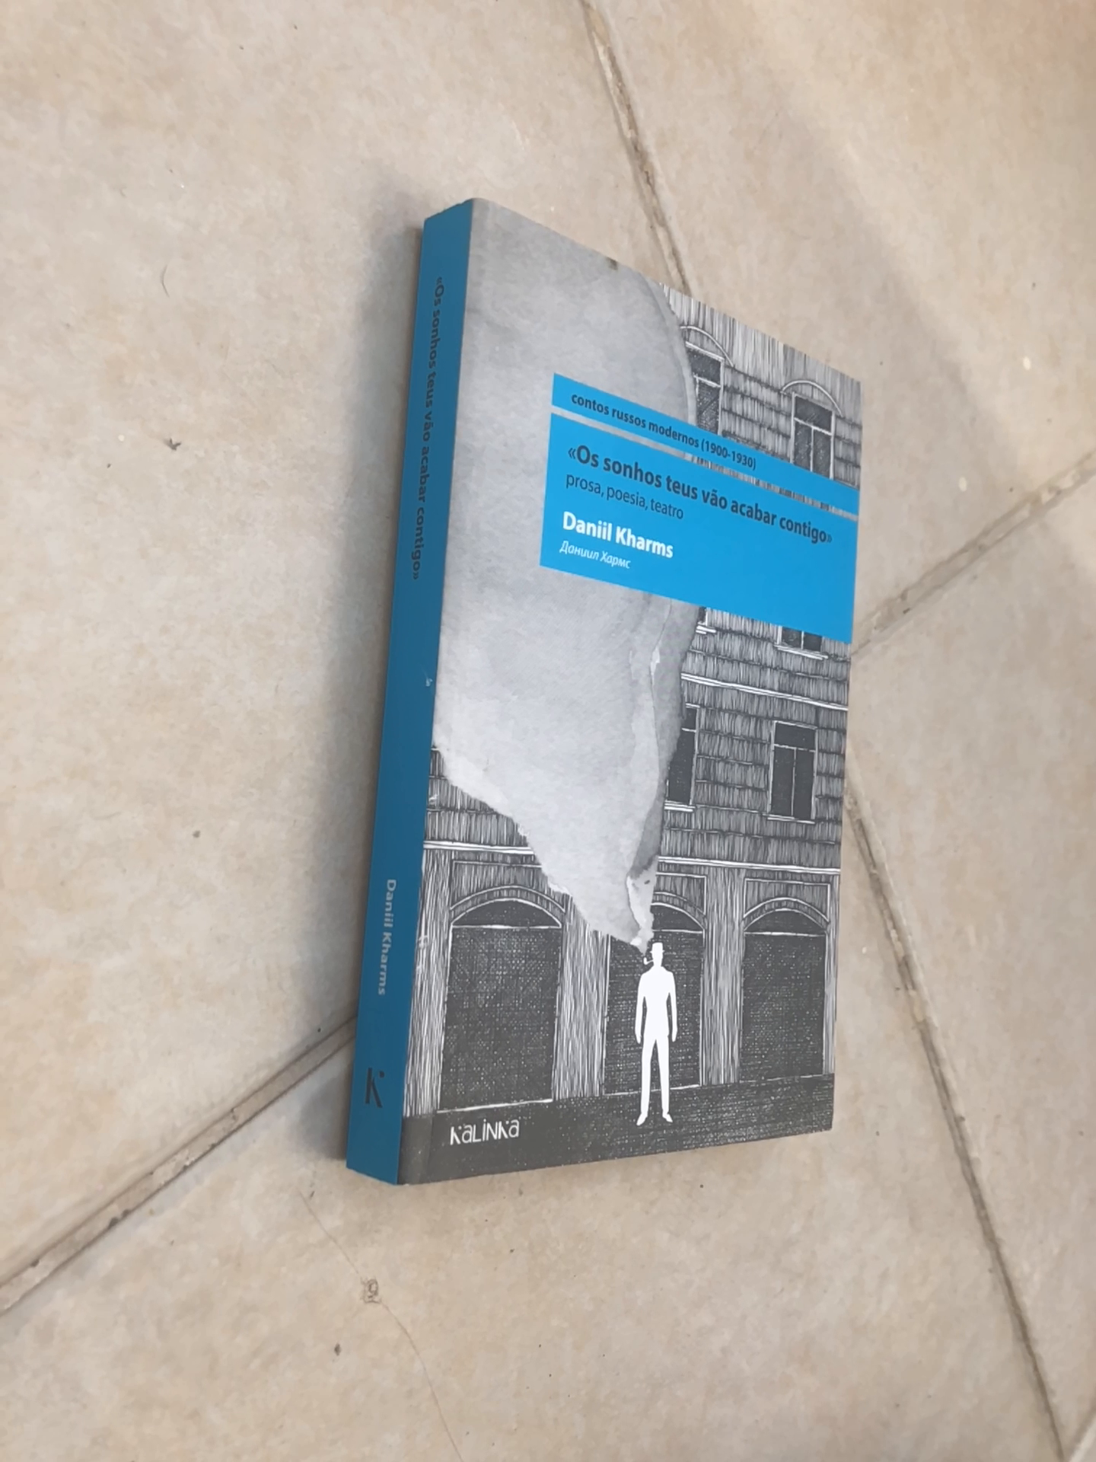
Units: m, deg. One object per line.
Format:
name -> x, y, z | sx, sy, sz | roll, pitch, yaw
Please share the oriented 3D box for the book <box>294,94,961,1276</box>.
book -> 0.024, -0.003, 0.227 | 0.121, 0.040, 0.170 | 9, 82, -39
